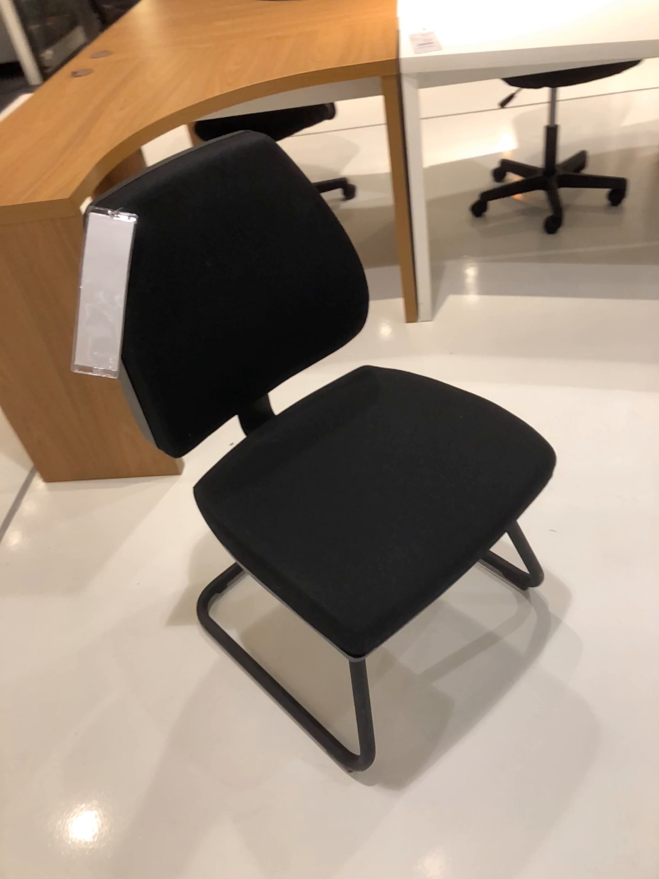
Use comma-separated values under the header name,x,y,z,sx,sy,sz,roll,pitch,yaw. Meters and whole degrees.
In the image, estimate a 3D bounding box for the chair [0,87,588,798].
name,x,y,z,sx,sy,sz,roll,pitch,yaw
chair,-0.014,-0.002,1.193,0.552,0.873,0.563,-37,47,-27
